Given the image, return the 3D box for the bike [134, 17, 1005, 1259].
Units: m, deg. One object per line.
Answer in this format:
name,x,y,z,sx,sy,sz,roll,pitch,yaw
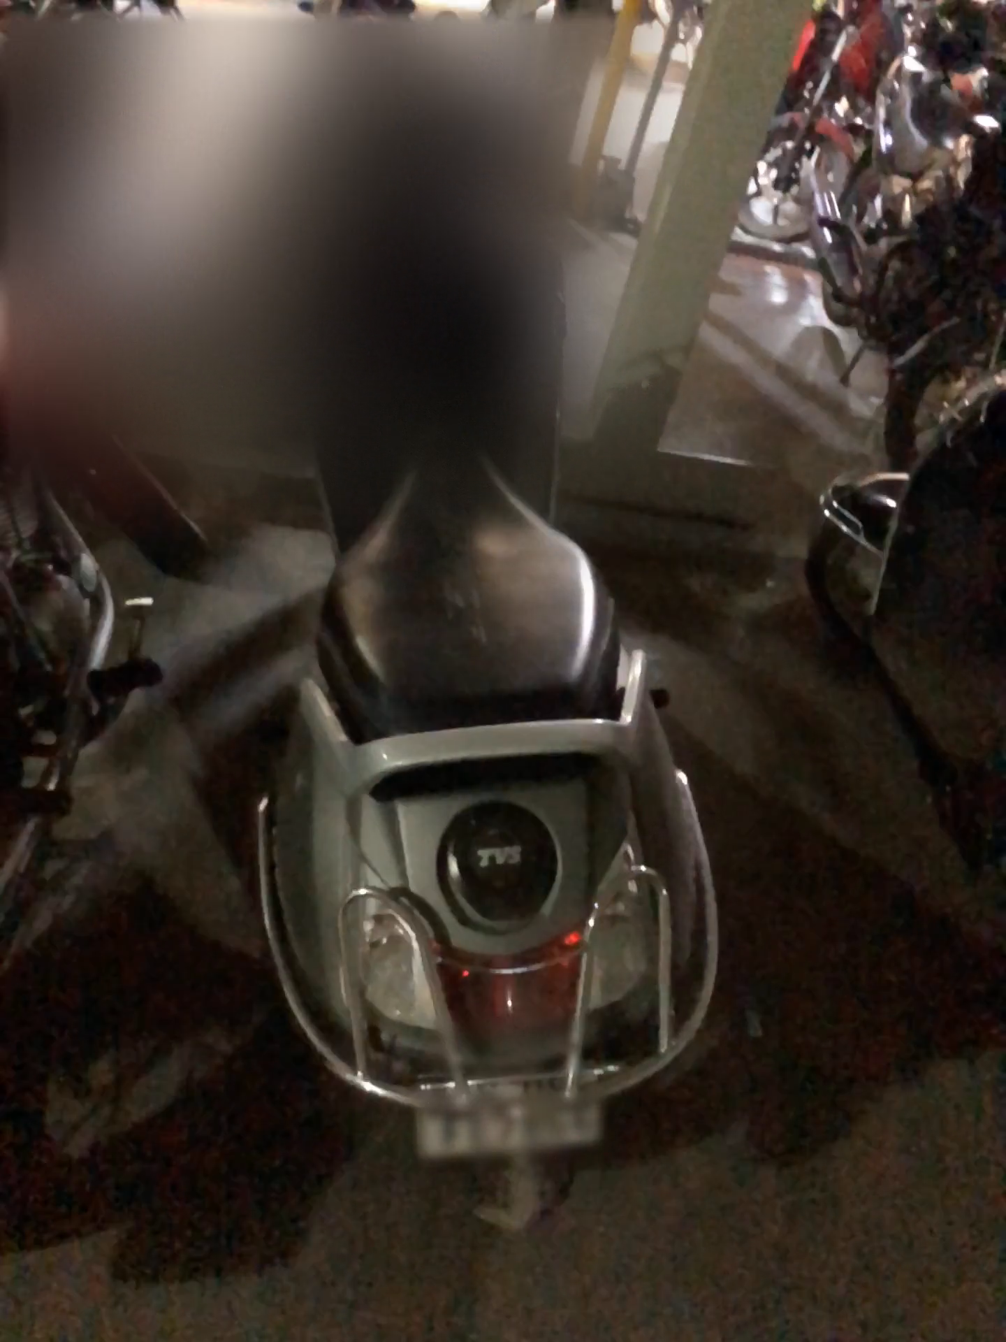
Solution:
bike,-0.116,-0.124,1.604,0.602,1.094,1.387,5,40,-13
